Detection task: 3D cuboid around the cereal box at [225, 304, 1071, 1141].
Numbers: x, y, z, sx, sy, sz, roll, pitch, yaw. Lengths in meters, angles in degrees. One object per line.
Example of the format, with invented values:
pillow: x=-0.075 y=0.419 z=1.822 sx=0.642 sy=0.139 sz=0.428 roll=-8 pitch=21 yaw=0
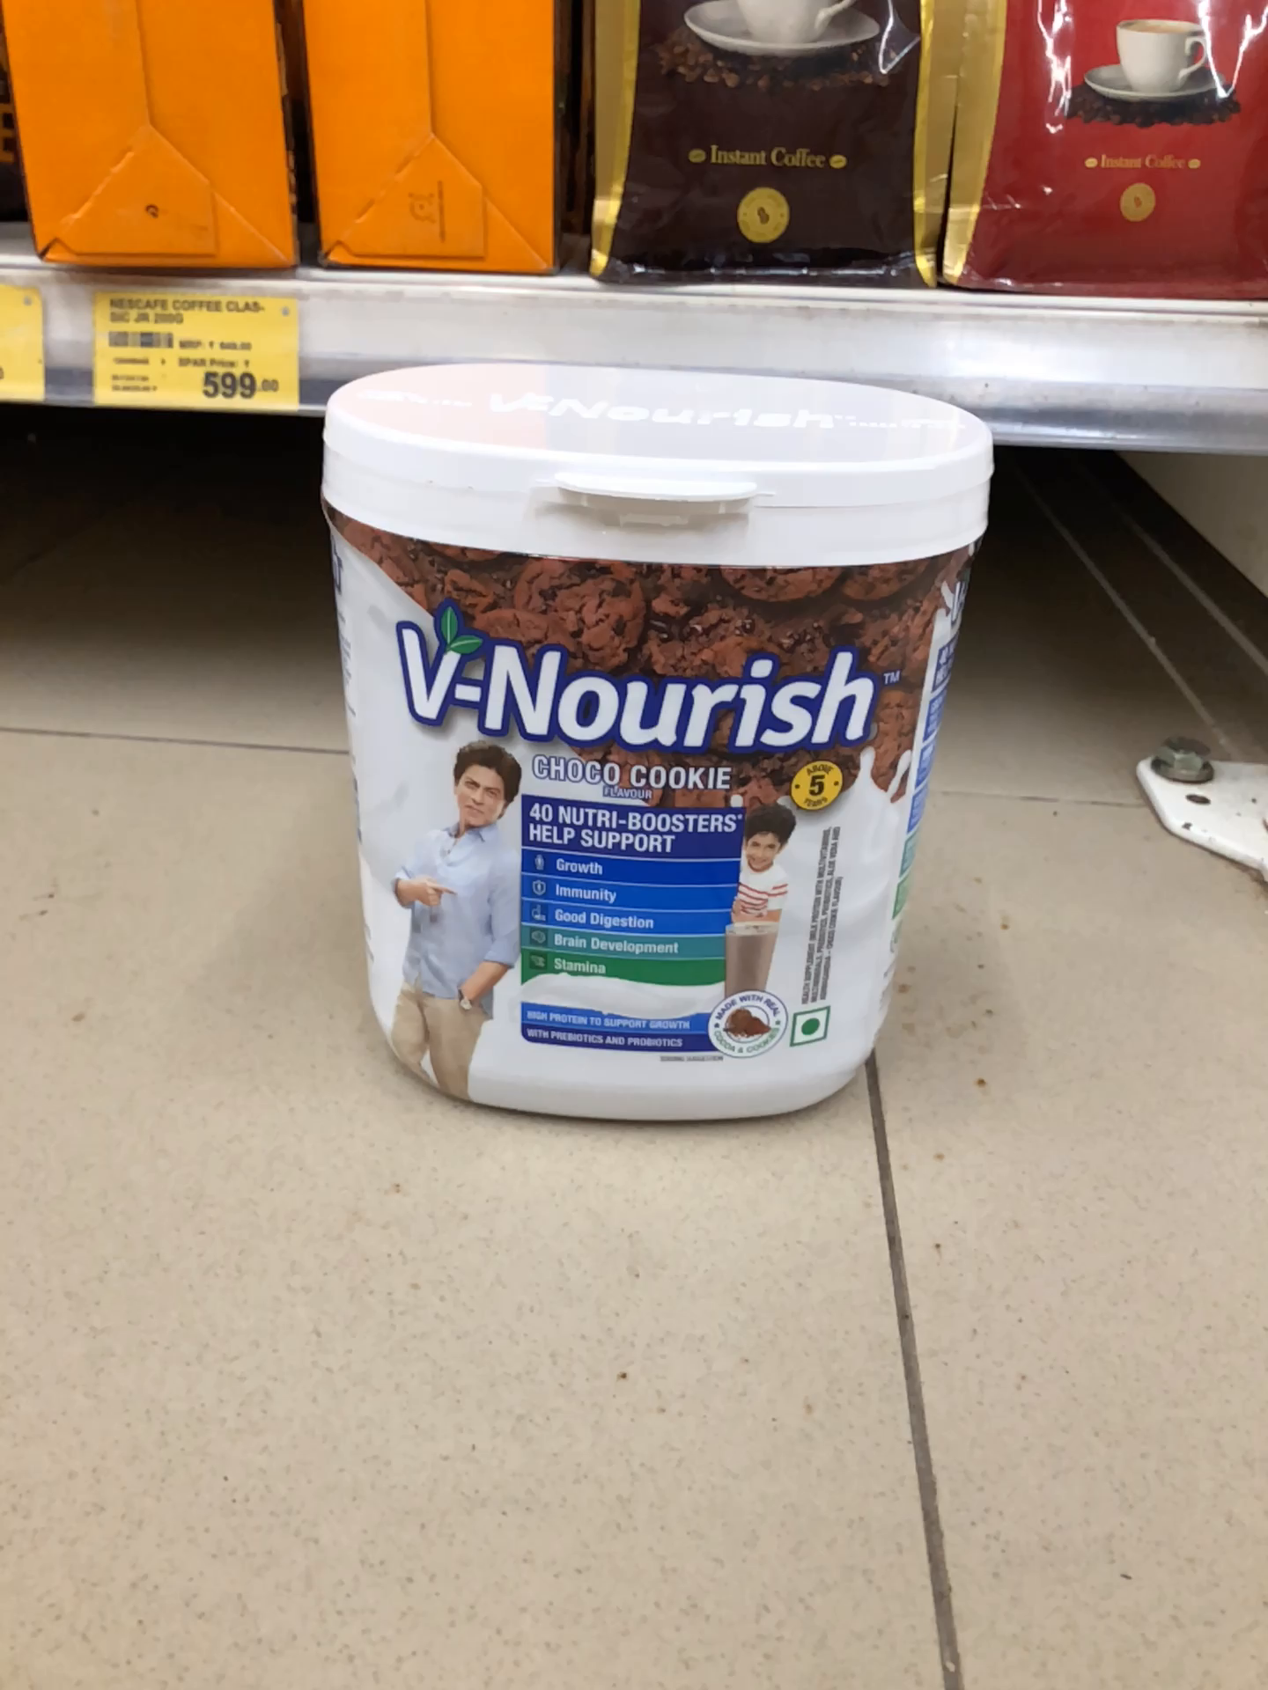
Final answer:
cereal box: x=0.001 y=-0.030 z=0.312 sx=0.140 sy=0.149 sz=0.101 roll=3 pitch=28 yaw=1
